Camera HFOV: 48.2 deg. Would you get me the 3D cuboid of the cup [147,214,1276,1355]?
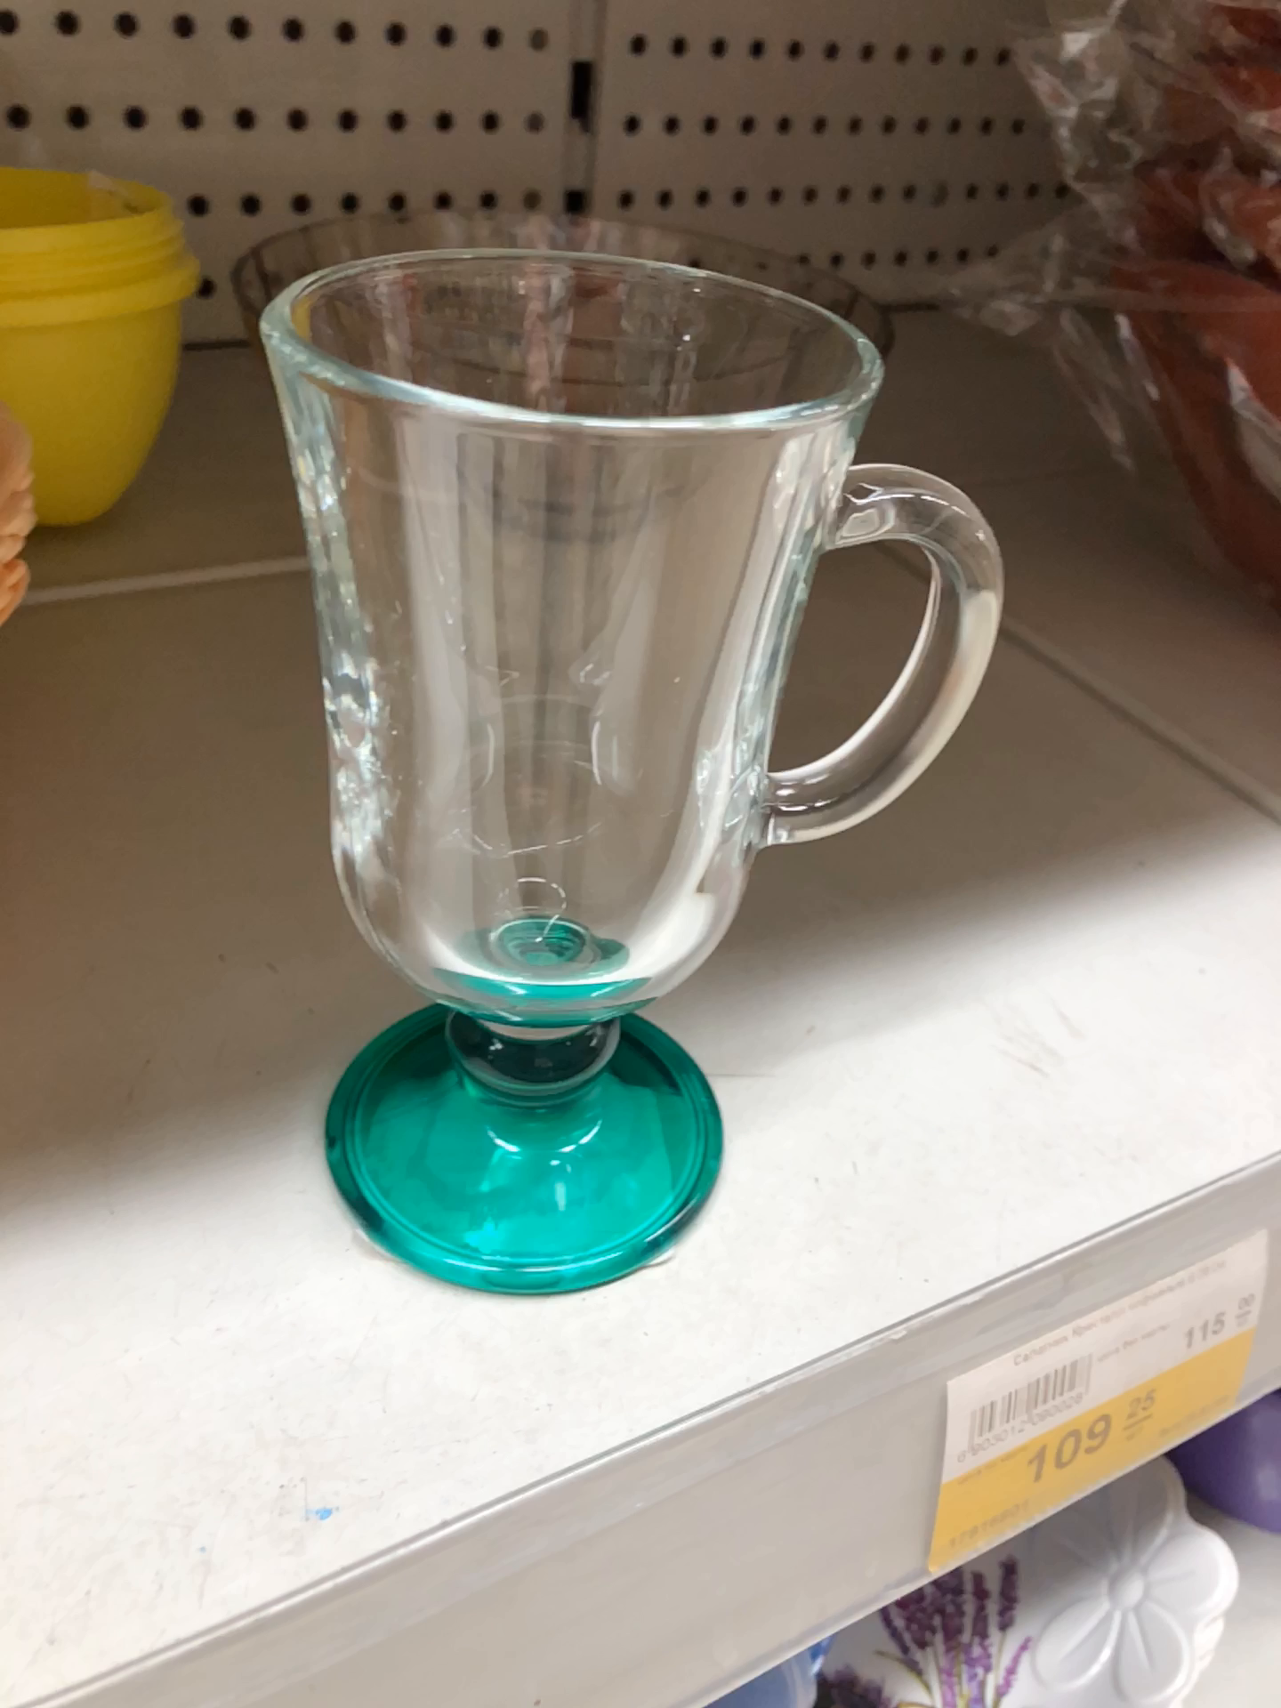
[{"bbox_3d":[-0.002,-0.014,0.199,0.108,0.118,0.086,-8,38,-16],"label":"cup"}]
